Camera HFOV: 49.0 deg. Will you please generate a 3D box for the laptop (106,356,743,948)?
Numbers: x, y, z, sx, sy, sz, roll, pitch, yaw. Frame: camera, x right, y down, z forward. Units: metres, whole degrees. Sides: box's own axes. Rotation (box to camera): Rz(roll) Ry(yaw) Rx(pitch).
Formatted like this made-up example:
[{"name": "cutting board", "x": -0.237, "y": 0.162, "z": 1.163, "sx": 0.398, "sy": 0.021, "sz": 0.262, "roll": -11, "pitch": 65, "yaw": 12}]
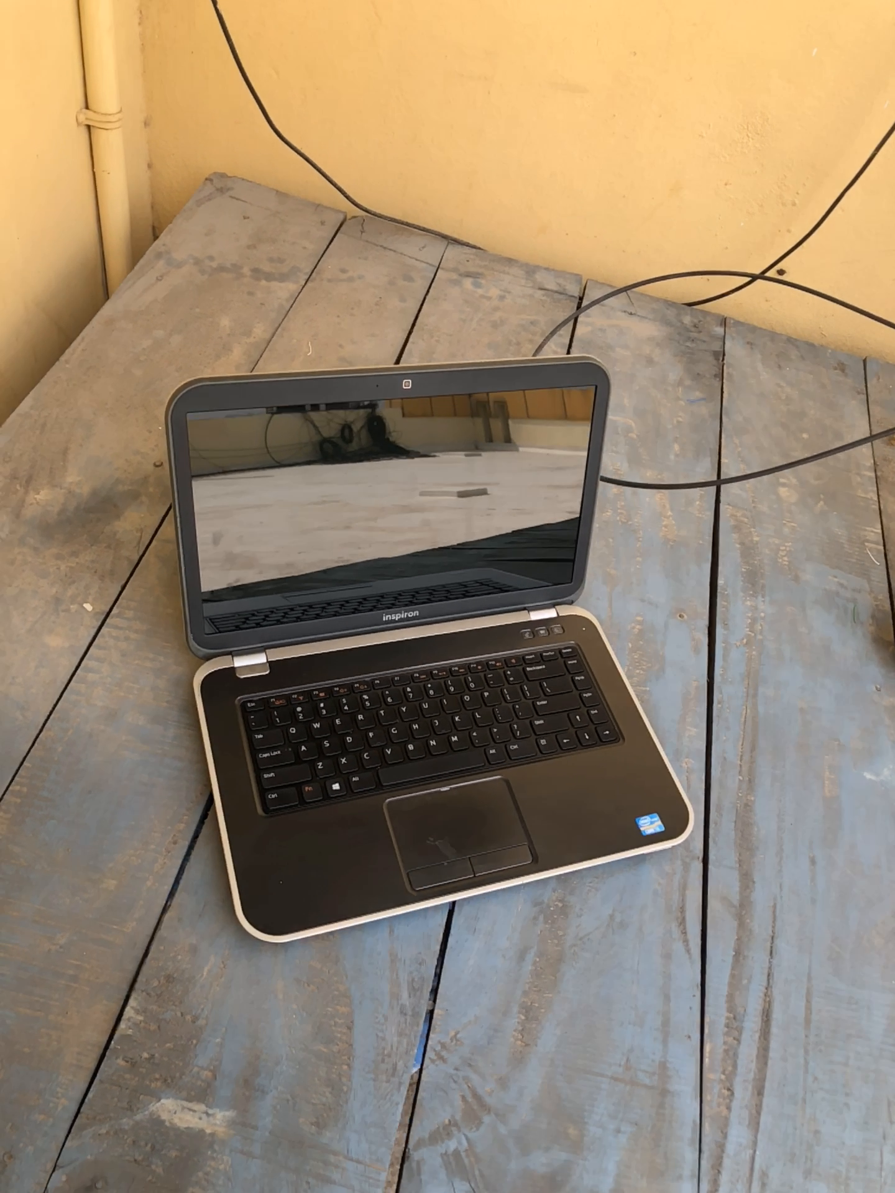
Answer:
[{"name": "laptop", "x": -0.046, "y": 0.020, "z": 0.742, "sx": 0.352, "sy": 0.209, "sz": 0.334, "roll": -8, "pitch": 52, "yaw": -18}]
